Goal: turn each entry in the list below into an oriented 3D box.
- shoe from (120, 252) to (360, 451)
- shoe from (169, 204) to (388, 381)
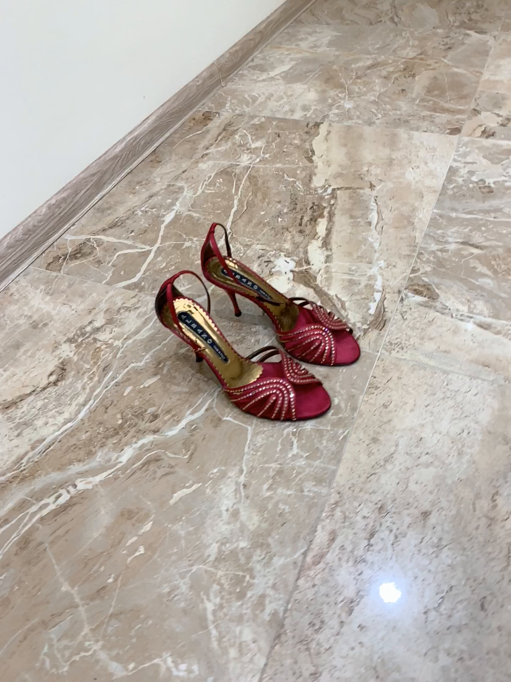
[{"bbox_3d":[-0.014,0.007,0.576,0.230,0.129,0.090,19,52,22],"label":"shoe"},{"bbox_3d":[0.027,-0.063,0.633,0.230,0.129,0.090,19,52,22],"label":"shoe"}]
